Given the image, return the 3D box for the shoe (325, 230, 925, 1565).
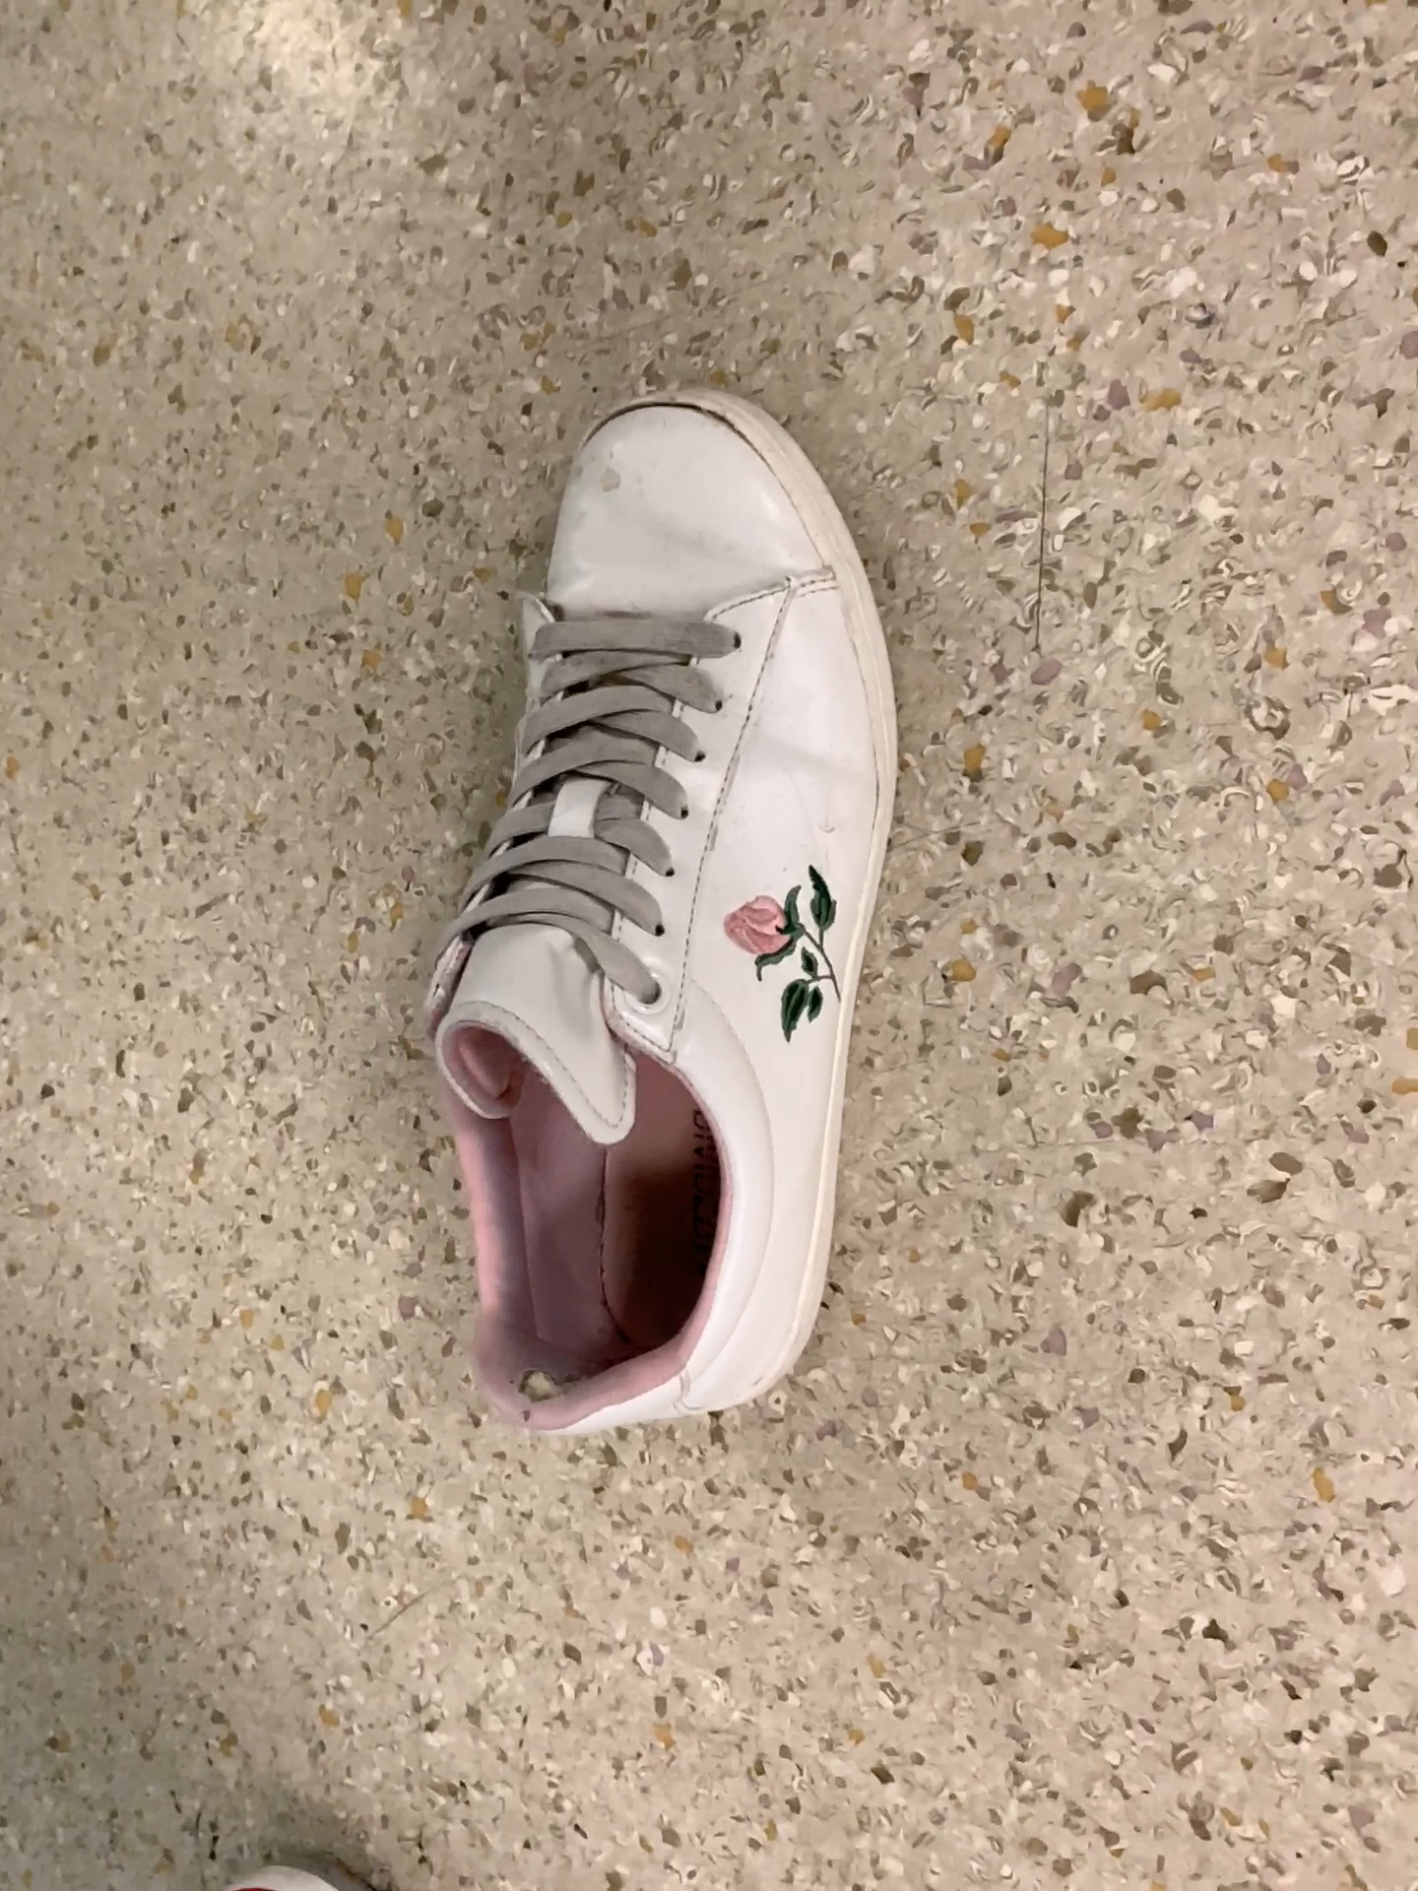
[{"bbox_3d":[-0.017,-0.011,0.341,0.099,0.092,0.255,4,93,26],"label":"shoe"}]
